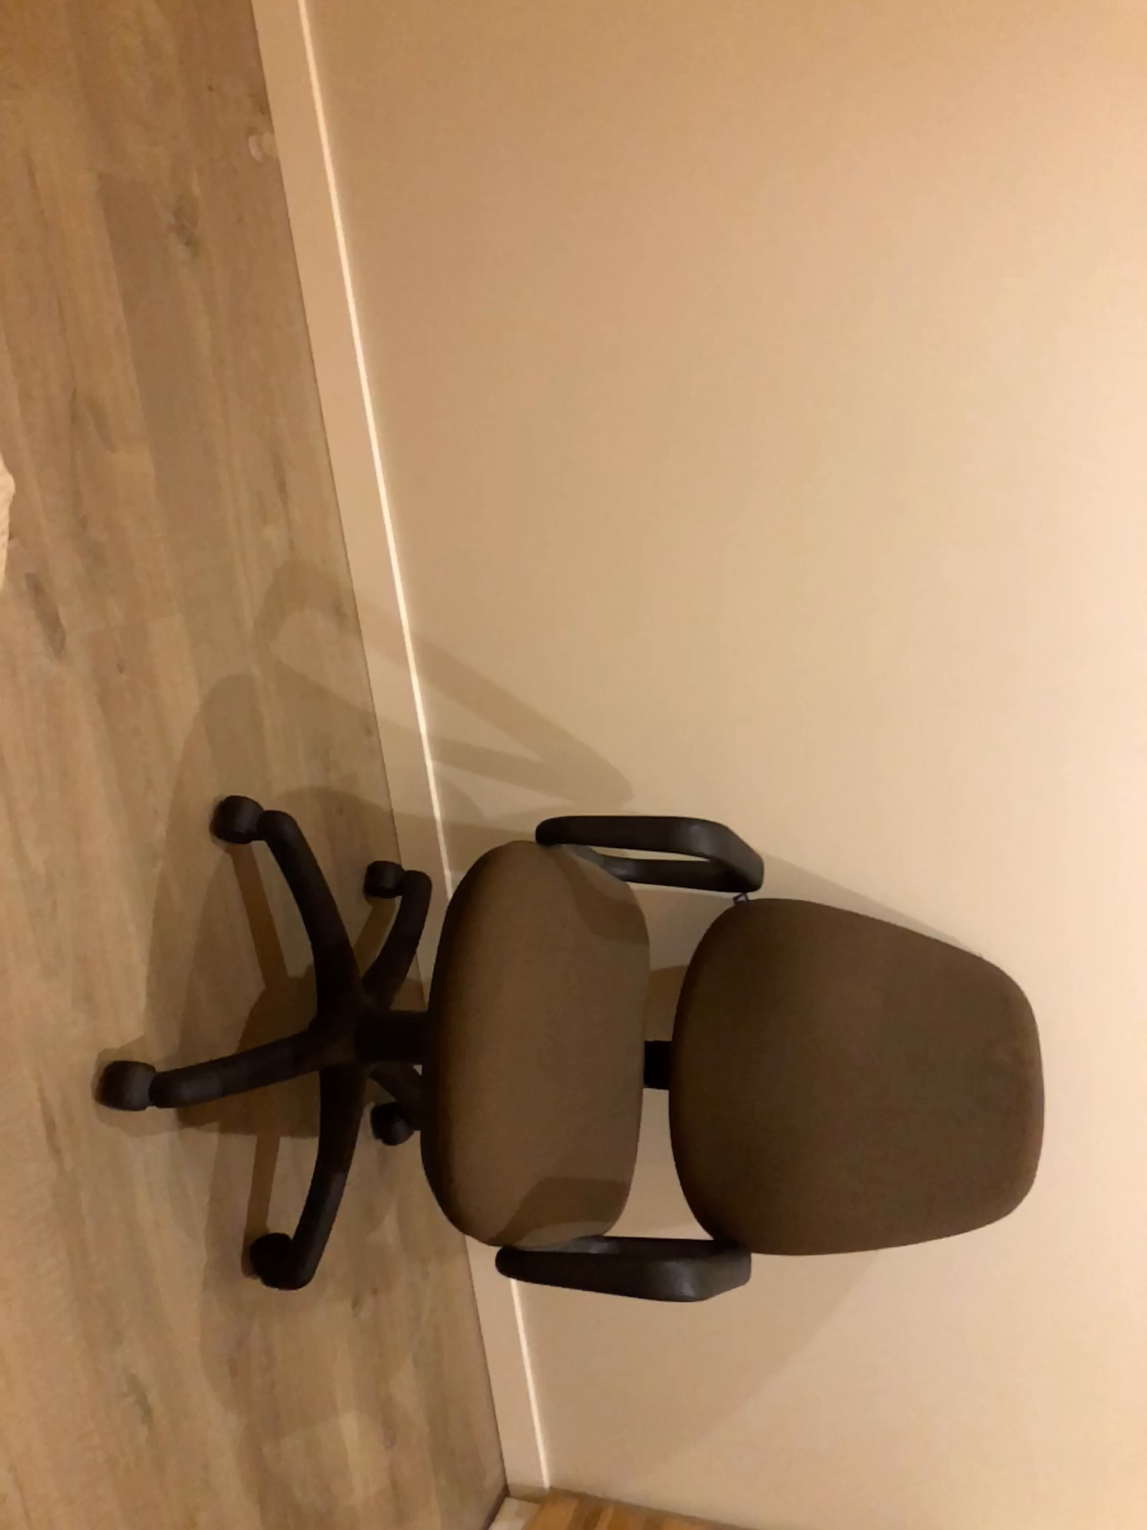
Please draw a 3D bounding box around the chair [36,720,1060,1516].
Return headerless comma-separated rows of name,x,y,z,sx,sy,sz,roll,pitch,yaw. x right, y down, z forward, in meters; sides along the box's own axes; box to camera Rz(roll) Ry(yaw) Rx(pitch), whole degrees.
chair,0.047,0.375,1.534,0.713,0.975,0.631,35,56,-62
